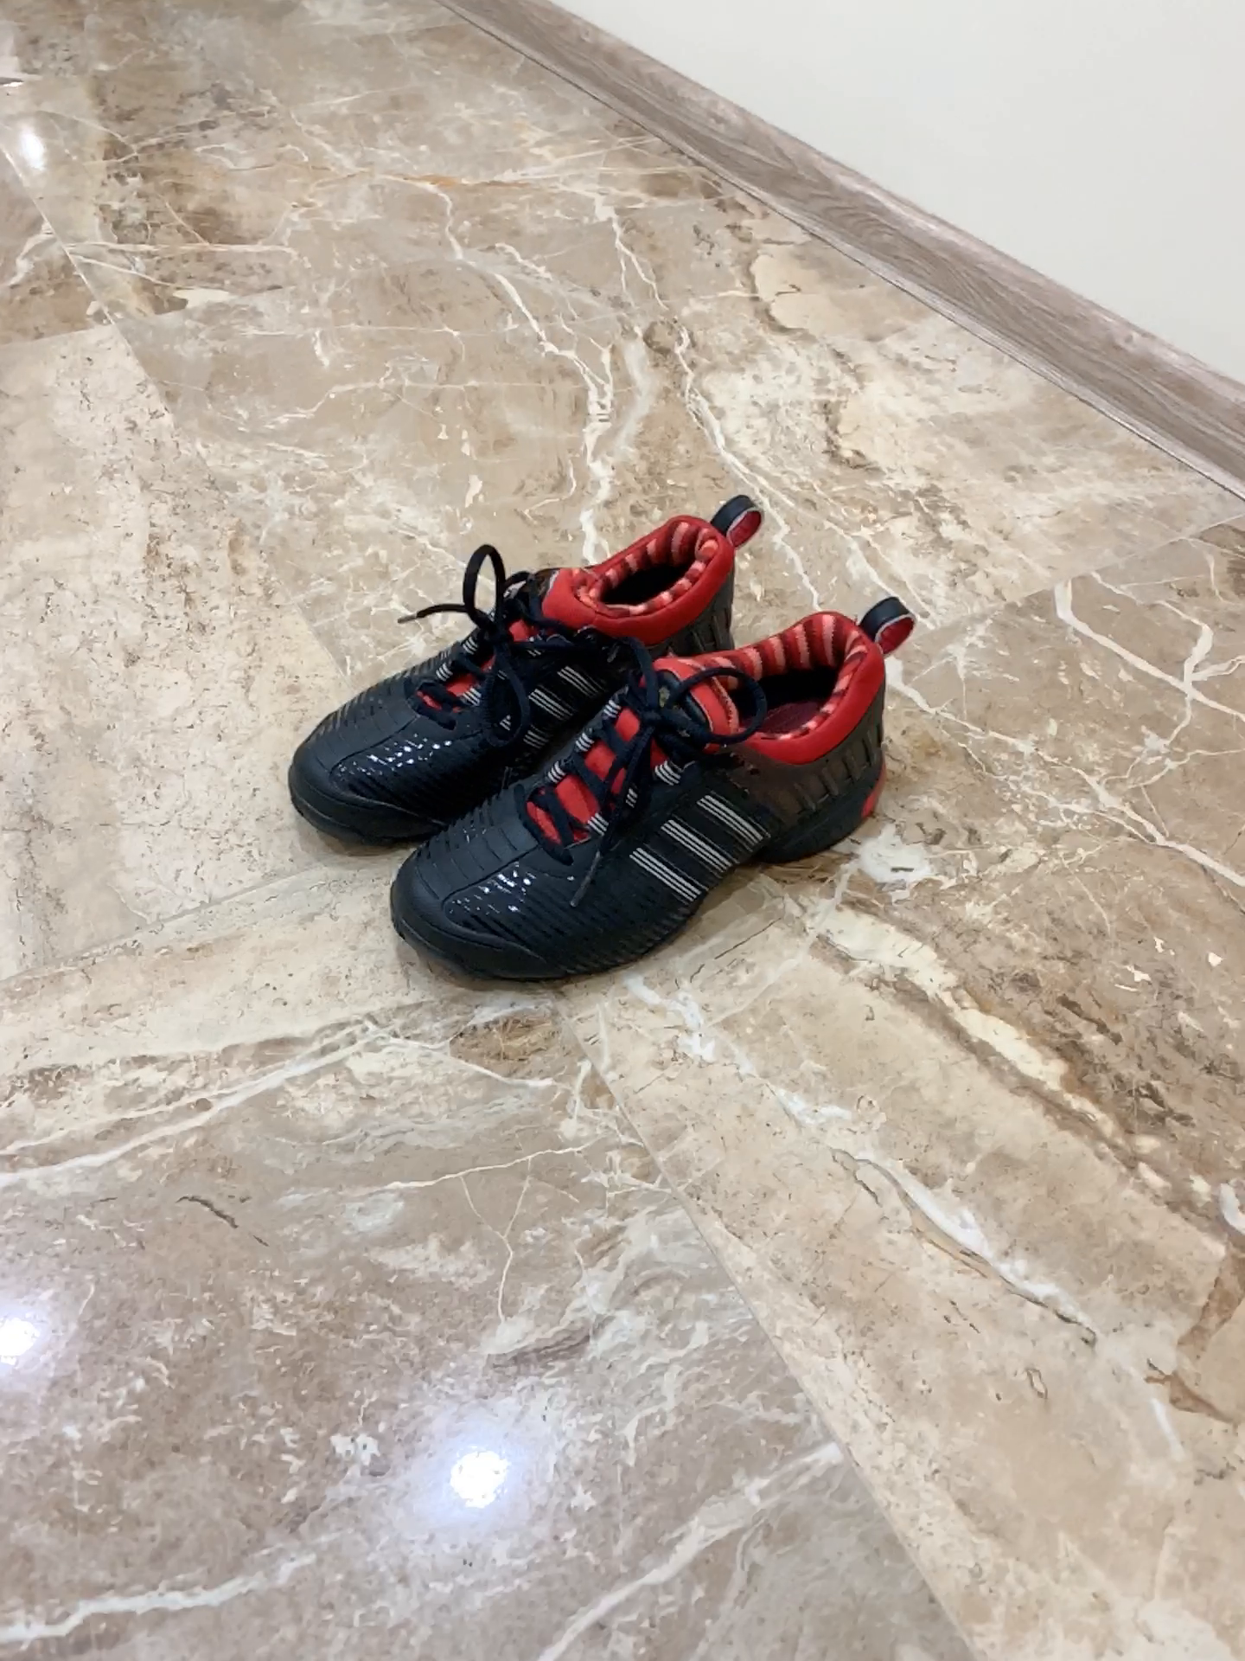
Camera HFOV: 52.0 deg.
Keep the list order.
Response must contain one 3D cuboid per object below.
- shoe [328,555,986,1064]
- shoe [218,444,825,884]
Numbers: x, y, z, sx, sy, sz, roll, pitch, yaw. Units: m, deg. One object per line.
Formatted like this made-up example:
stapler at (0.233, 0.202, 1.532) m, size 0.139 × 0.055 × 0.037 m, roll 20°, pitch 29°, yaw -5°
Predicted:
shoe at (0.021, -0.019, 0.566) m, size 0.270 × 0.090 × 0.096 m, roll -26°, pitch 52°, yaw -24°
shoe at (-0.041, -0.090, 0.623) m, size 0.270 × 0.090 × 0.096 m, roll -26°, pitch 52°, yaw -24°
